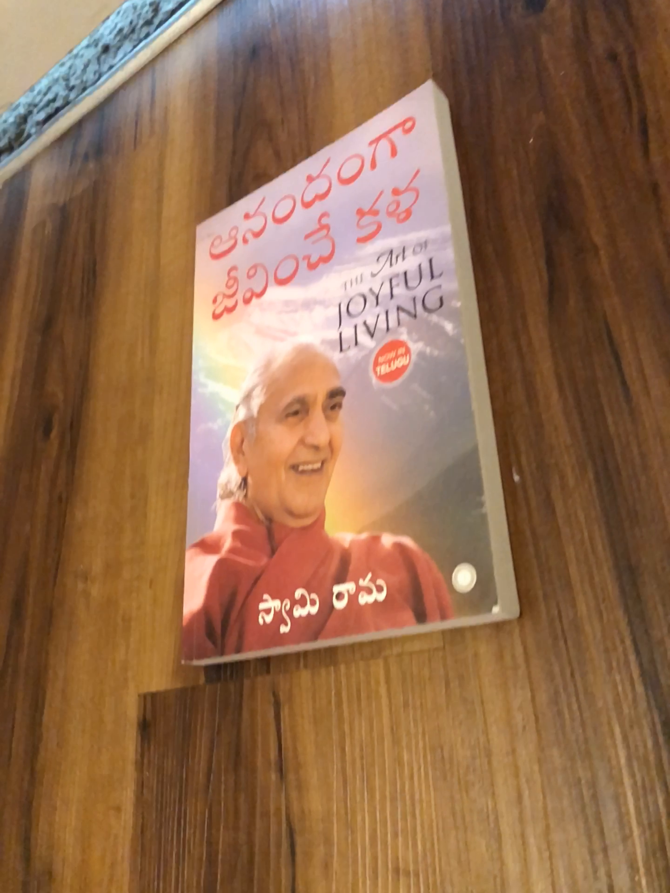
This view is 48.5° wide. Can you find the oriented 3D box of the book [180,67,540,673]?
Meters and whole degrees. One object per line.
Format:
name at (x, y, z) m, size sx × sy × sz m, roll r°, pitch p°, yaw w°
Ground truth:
book at (-0.005, -0.029, 0.305) m, size 0.145 × 0.020 × 0.219 m, roll -19°, pitch 63°, yaw 34°
